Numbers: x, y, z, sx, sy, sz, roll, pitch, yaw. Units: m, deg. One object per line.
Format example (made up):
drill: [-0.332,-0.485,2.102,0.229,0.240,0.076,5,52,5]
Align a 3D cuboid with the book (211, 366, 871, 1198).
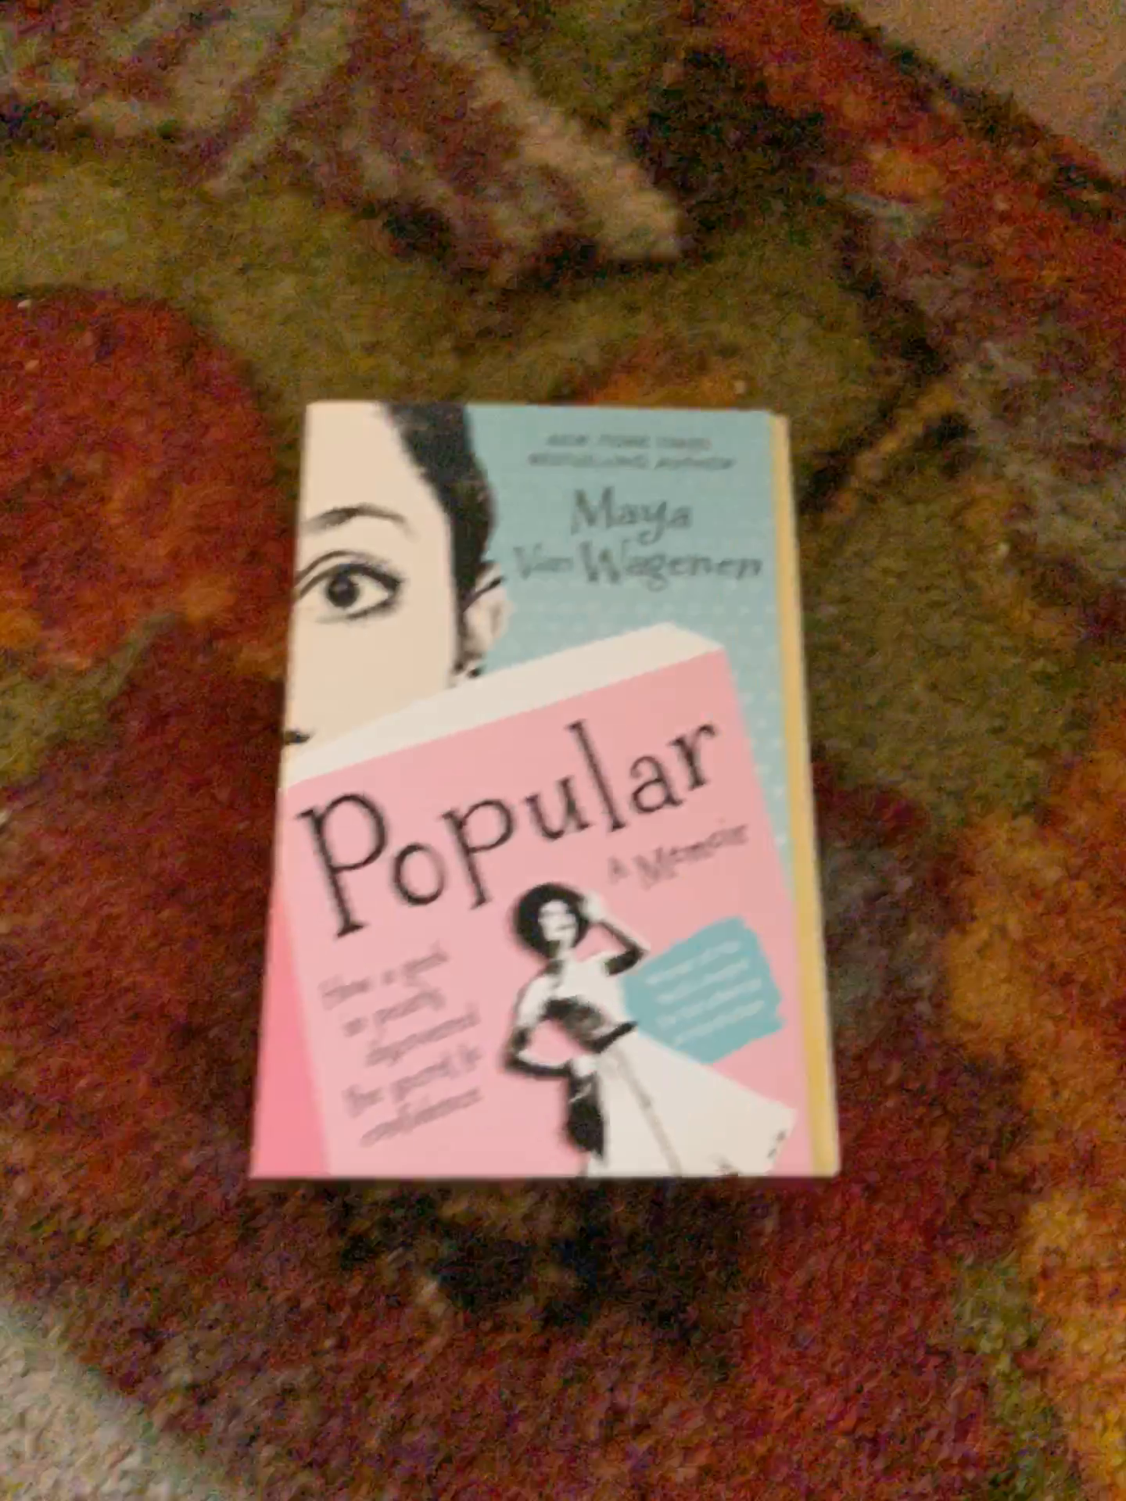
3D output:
book: [-0.005,0.001,0.315,0.150,0.030,0.220,0,72,-2]
